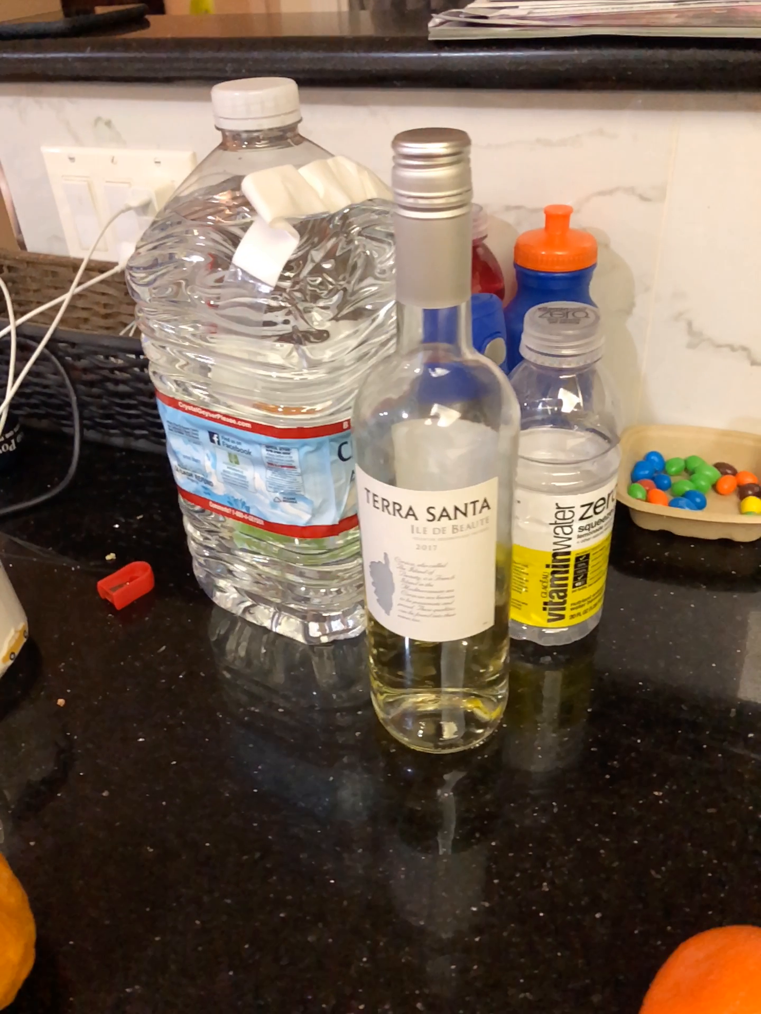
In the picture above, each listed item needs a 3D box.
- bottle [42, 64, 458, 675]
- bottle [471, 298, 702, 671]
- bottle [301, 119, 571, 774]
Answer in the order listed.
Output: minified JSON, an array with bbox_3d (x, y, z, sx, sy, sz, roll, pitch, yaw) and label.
[{"bbox_3d":[-0.047,-0.074,0.457,0.130,0.278,0.141,-2,34,1],"label":"bottle"},{"bbox_3d":[0.095,-0.010,0.420,0.070,0.159,0.070,-2,34,1],"label":"bottle"},{"bbox_3d":[0.027,-0.011,0.355,0.070,0.268,0.070,-2,34,1],"label":"bottle"}]
